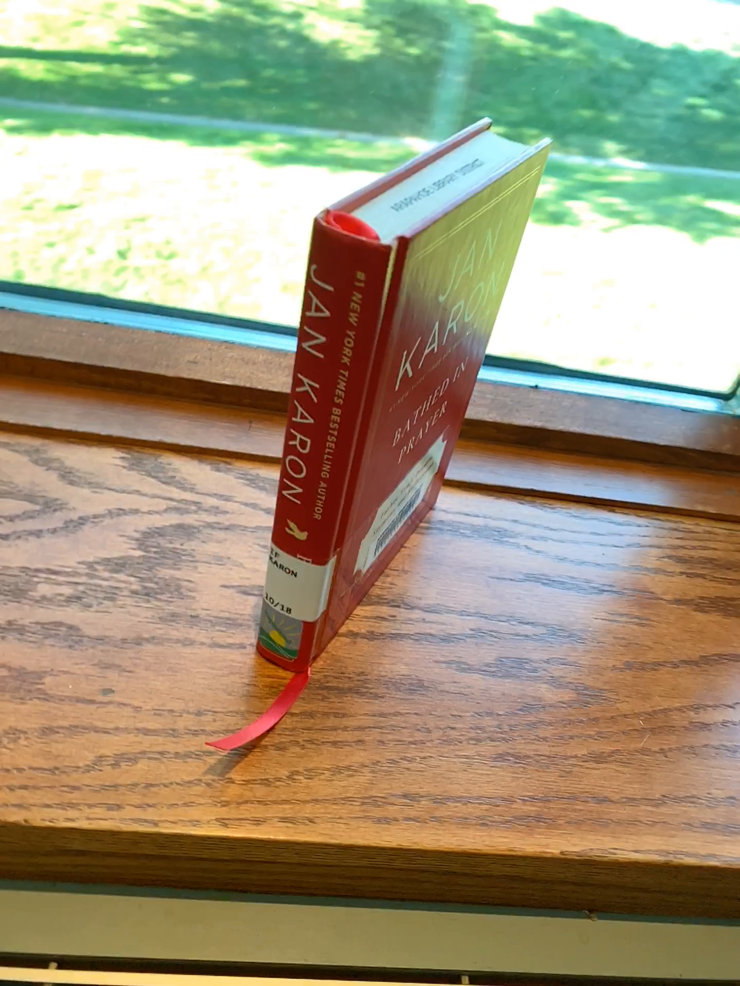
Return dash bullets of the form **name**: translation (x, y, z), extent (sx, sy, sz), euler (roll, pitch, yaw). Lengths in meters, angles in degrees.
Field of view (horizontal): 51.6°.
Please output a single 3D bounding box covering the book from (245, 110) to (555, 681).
- **book**: translation (0.008, -0.034, 0.281), extent (0.028, 0.169, 0.135), euler (25, 43, 16)
